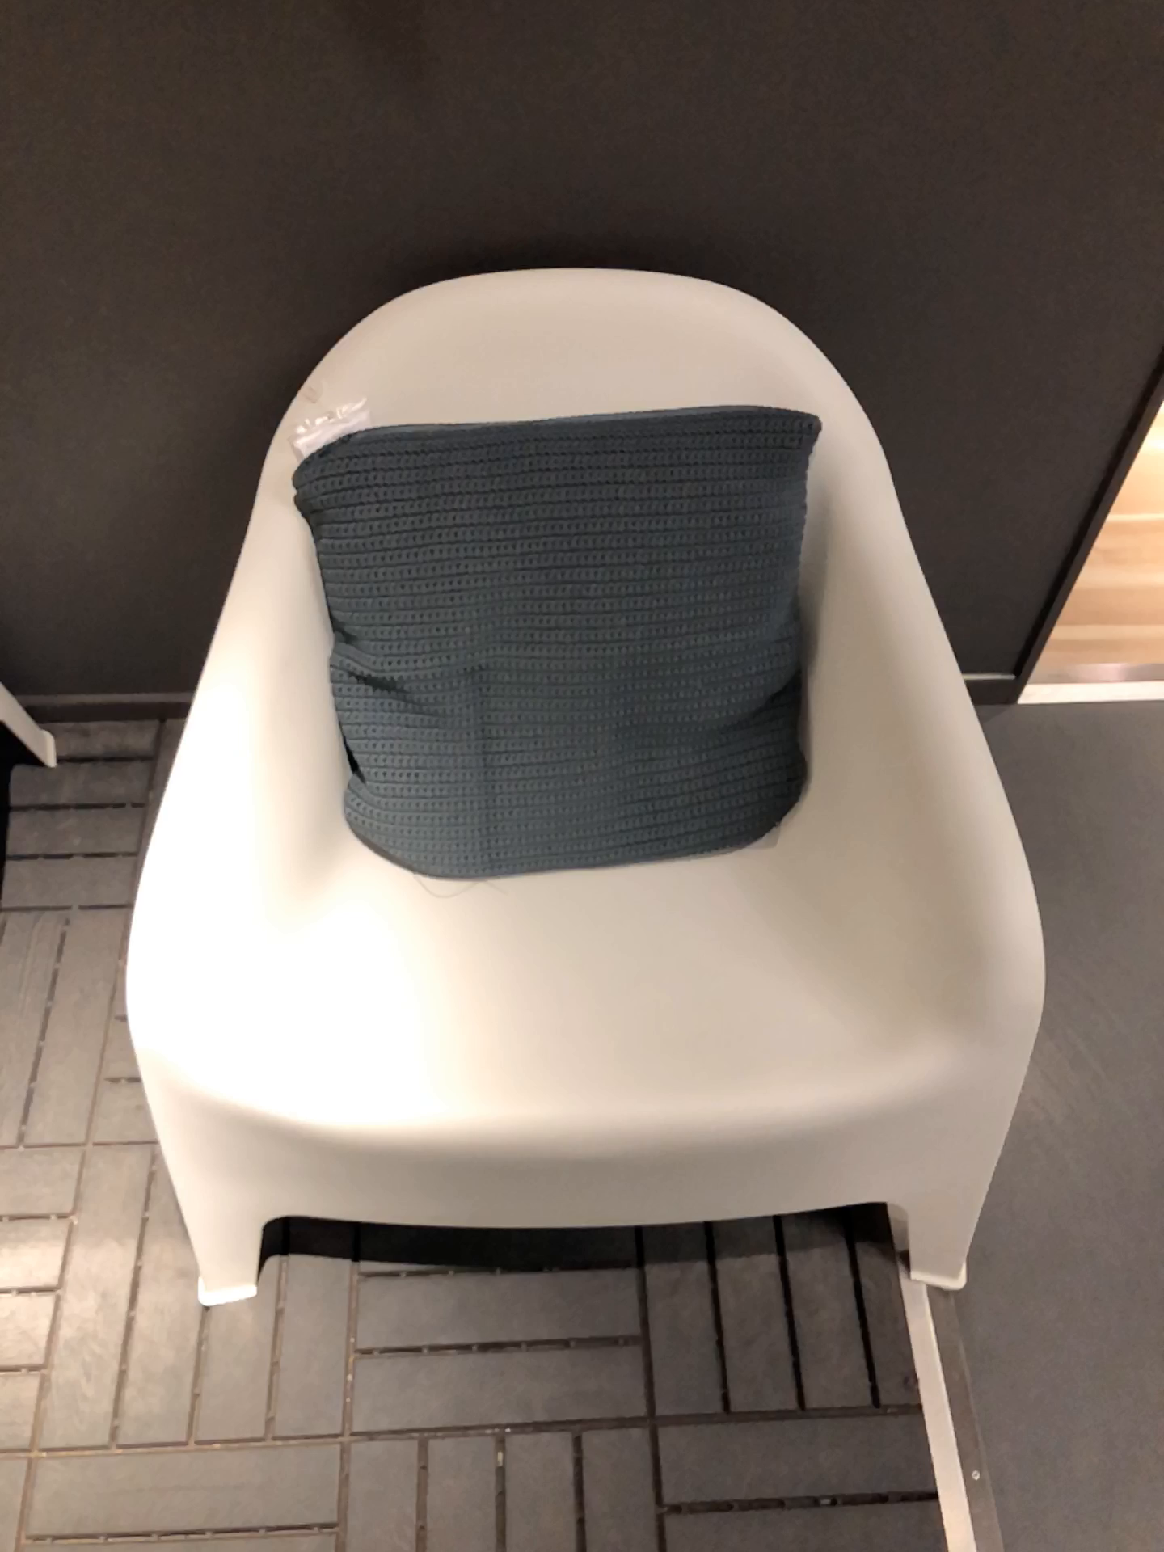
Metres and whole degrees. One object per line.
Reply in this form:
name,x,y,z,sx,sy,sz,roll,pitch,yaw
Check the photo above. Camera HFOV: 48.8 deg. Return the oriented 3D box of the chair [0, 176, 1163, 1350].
chair,-0.016,0.015,1.227,0.830,0.766,0.784,-3,55,-4
